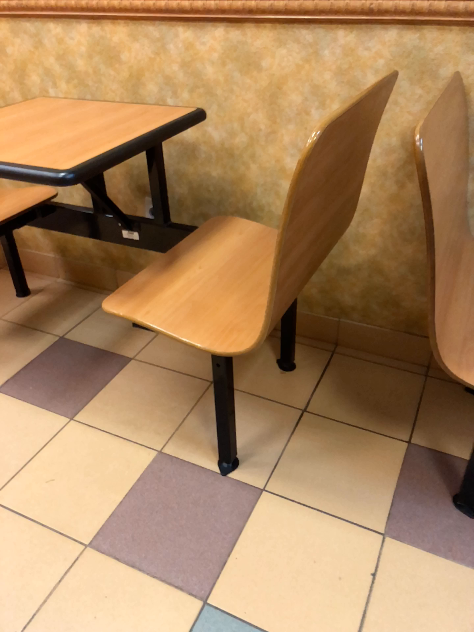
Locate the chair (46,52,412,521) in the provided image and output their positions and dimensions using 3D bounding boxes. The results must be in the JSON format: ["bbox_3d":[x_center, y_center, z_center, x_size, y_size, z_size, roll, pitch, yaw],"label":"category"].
[{"bbox_3d":[0.042,-0.115,1.293,0.511,0.885,0.633,14,36,23],"label":"chair"}]
